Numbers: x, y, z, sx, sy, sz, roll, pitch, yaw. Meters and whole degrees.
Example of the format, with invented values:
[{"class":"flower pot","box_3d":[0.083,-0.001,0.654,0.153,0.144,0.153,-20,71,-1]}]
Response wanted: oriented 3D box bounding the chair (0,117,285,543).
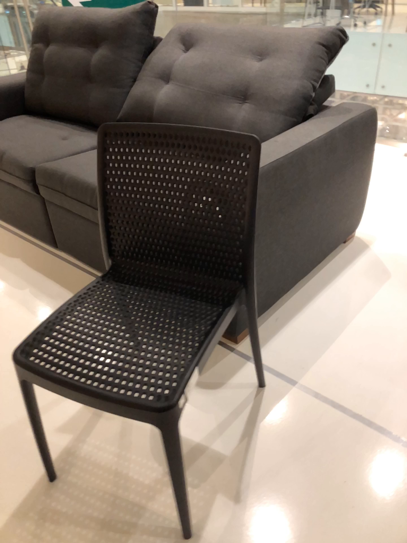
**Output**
[{"class":"chair","box_3d":[-0.149,0.116,1.087,0.531,0.783,0.564,10,37,21]}]
